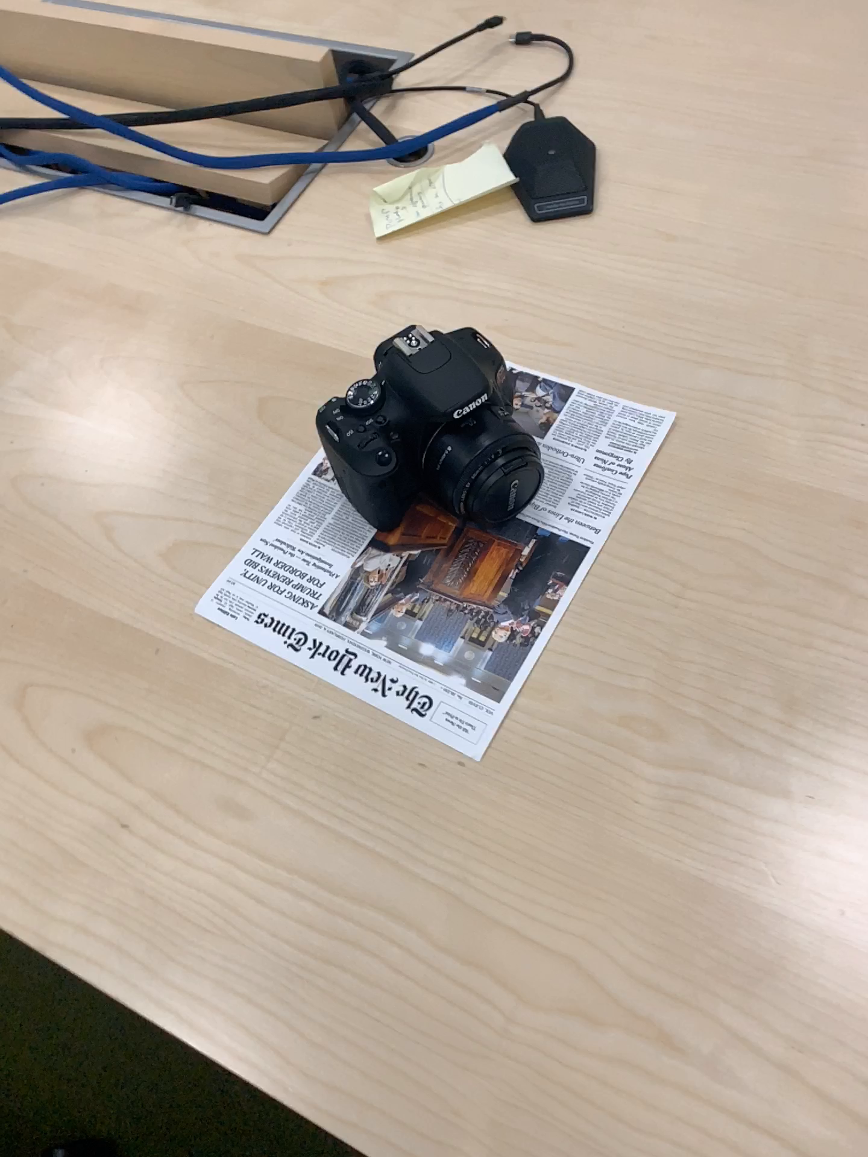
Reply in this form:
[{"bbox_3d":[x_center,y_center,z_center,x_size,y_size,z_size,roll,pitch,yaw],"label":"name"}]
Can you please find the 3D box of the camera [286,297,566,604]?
[{"bbox_3d":[-0.001,-0.083,0.577,0.124,0.100,0.122,-31,60,-10],"label":"camera"}]
